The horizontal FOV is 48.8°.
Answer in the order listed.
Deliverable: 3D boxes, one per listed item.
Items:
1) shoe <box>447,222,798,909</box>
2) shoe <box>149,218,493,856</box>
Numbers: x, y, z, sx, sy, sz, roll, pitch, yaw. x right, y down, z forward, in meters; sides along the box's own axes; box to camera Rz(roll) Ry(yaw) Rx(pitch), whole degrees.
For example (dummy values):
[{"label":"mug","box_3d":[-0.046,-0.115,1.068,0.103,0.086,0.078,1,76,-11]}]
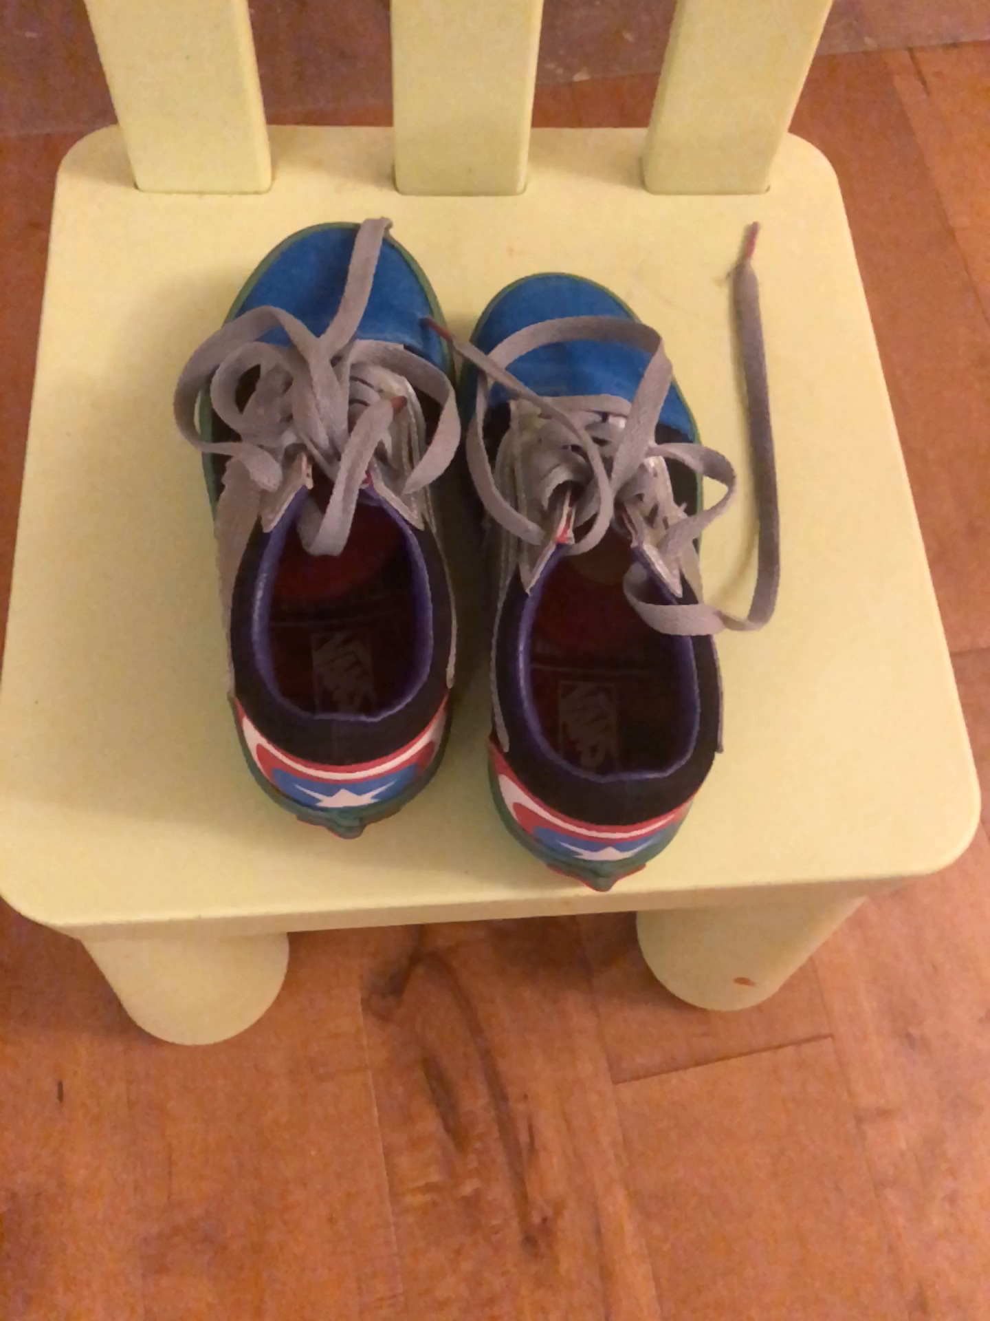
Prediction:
[{"label":"shoe","box_3d":[0.028,-0.028,0.325,0.080,0.070,0.190,-1,70,-4]},{"label":"shoe","box_3d":[-0.051,-0.039,0.357,0.090,0.080,0.190,-1,70,-4]}]
